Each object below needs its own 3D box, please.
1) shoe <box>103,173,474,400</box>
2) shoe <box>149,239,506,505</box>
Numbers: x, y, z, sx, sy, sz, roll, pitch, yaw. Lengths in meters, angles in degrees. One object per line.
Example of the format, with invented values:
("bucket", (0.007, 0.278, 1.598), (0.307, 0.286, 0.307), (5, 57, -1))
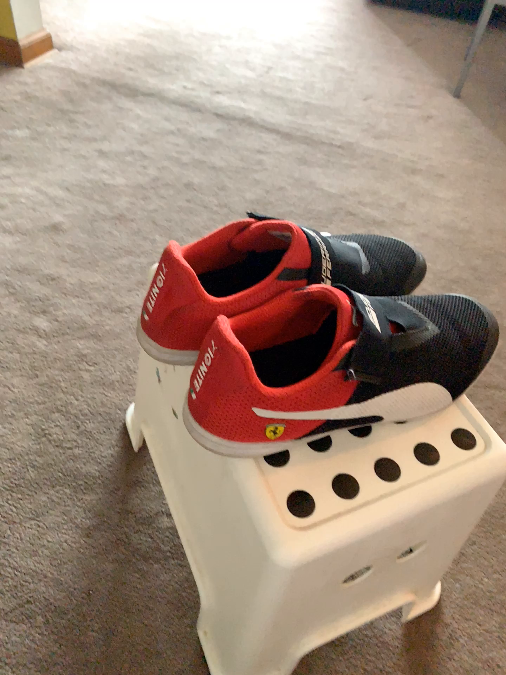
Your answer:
("shoe", (0.033, -0.058, 0.477), (0.301, 0.099, 0.111), (-15, 52, -22))
("shoe", (0.078, 0.016, 0.425), (0.301, 0.099, 0.101), (-15, 52, -22))
